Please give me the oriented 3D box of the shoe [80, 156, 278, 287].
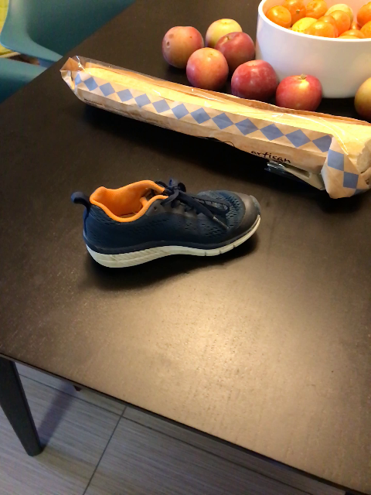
[{"bbox_3d":[-0.009,-0.030,0.433,0.186,0.072,0.084,-10,48,-7],"label":"shoe"}]
